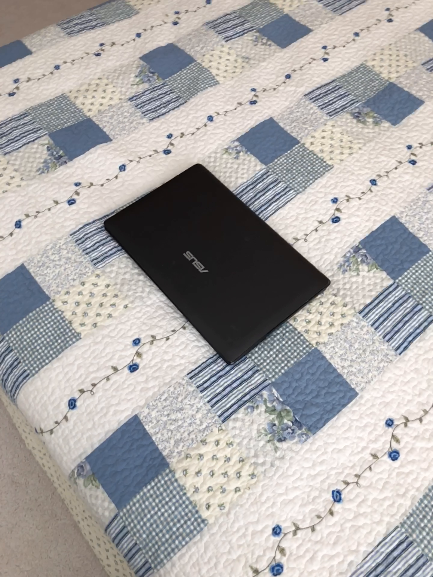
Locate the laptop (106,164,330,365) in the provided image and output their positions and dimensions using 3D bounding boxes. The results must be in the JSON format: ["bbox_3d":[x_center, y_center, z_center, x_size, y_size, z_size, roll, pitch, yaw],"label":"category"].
[{"bbox_3d":[-0.006,-0.067,0.884,0.235,0.006,0.369,-36,67,-18],"label":"laptop"}]
